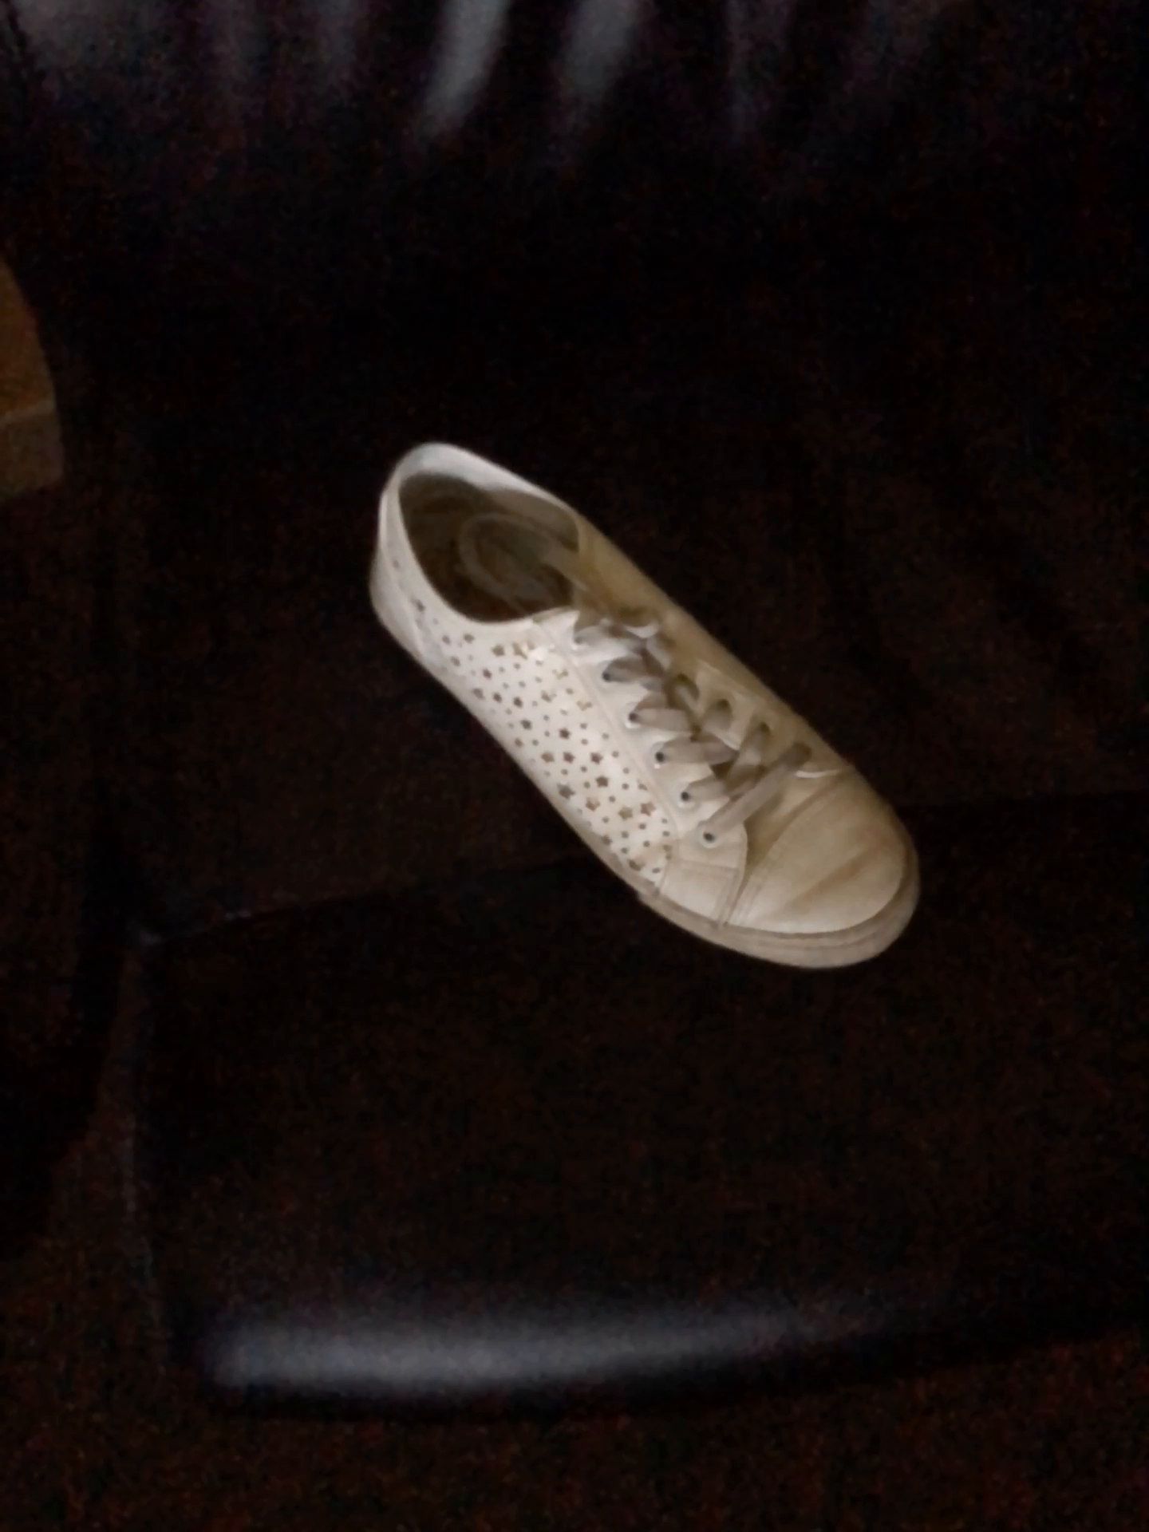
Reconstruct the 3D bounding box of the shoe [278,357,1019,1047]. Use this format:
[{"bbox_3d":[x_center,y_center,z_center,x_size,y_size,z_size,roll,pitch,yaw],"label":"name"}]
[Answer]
[{"bbox_3d":[0.021,-0.026,0.493,0.260,0.100,0.100,41,76,18],"label":"shoe"}]
